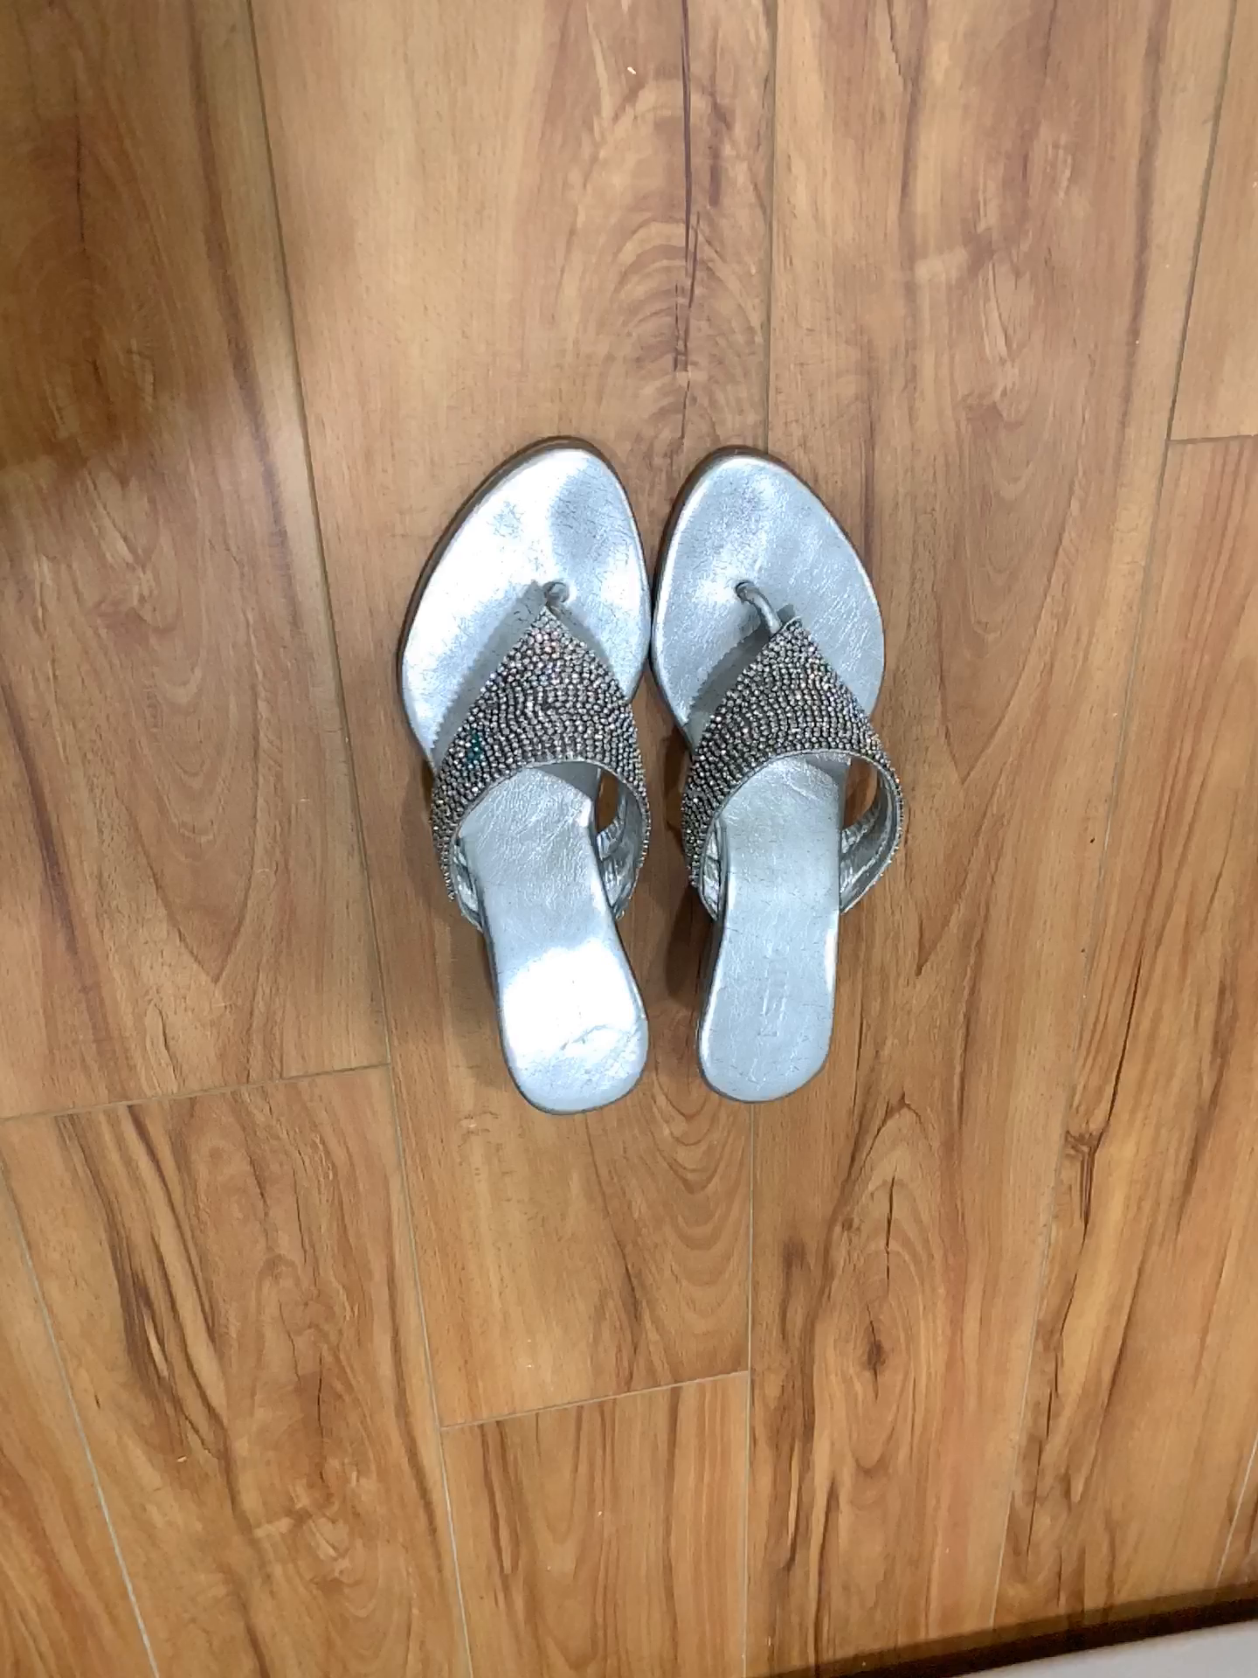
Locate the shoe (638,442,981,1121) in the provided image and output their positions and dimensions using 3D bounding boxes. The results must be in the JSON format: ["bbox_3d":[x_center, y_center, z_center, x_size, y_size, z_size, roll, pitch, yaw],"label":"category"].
[{"bbox_3d":[0.055,-0.018,0.461,0.085,0.073,0.228,-4,116,-11],"label":"shoe"}]

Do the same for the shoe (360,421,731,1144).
[{"bbox_3d":[-0.025,-0.016,0.446,0.095,0.073,0.228,-9,117,-8],"label":"shoe"}]
